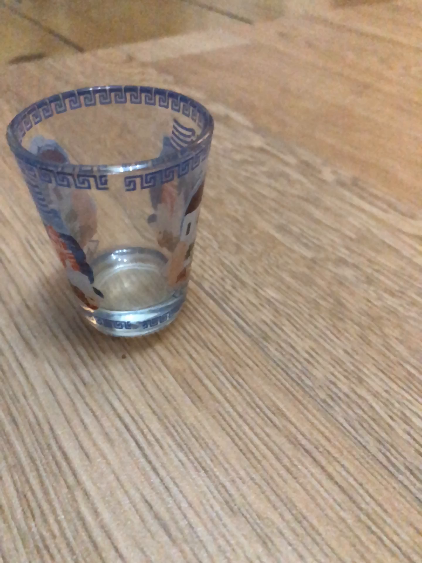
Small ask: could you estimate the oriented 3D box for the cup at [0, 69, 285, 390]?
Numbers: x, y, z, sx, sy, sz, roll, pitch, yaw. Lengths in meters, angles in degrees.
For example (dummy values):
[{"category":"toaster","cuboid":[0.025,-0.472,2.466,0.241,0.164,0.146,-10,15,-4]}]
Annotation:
[{"category":"cup","cuboid":[-0.018,-0.017,0.133,0.050,0.060,0.050,1,41,-1]}]
